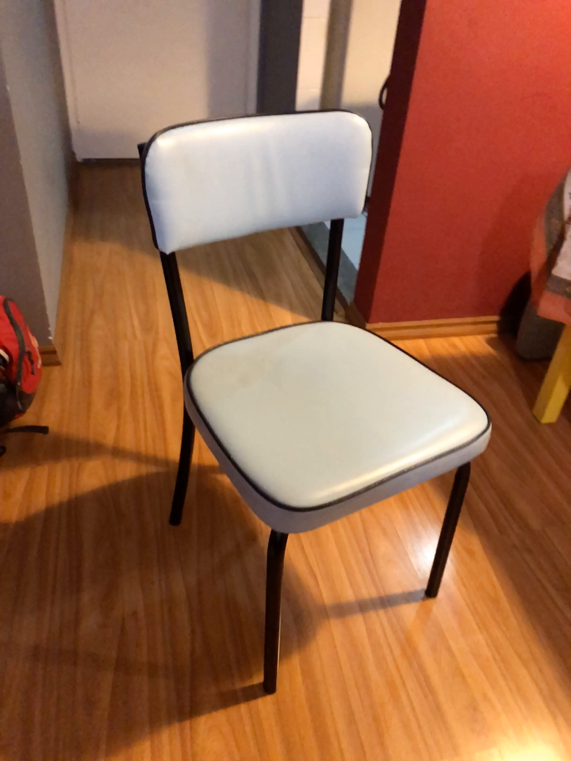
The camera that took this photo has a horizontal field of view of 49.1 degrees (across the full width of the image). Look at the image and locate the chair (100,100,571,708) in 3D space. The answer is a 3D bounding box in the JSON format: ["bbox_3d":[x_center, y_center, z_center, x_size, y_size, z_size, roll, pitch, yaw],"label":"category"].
[{"bbox_3d":[0.036,0.023,1.064,0.451,0.794,0.503,-18,42,-28],"label":"chair"}]
